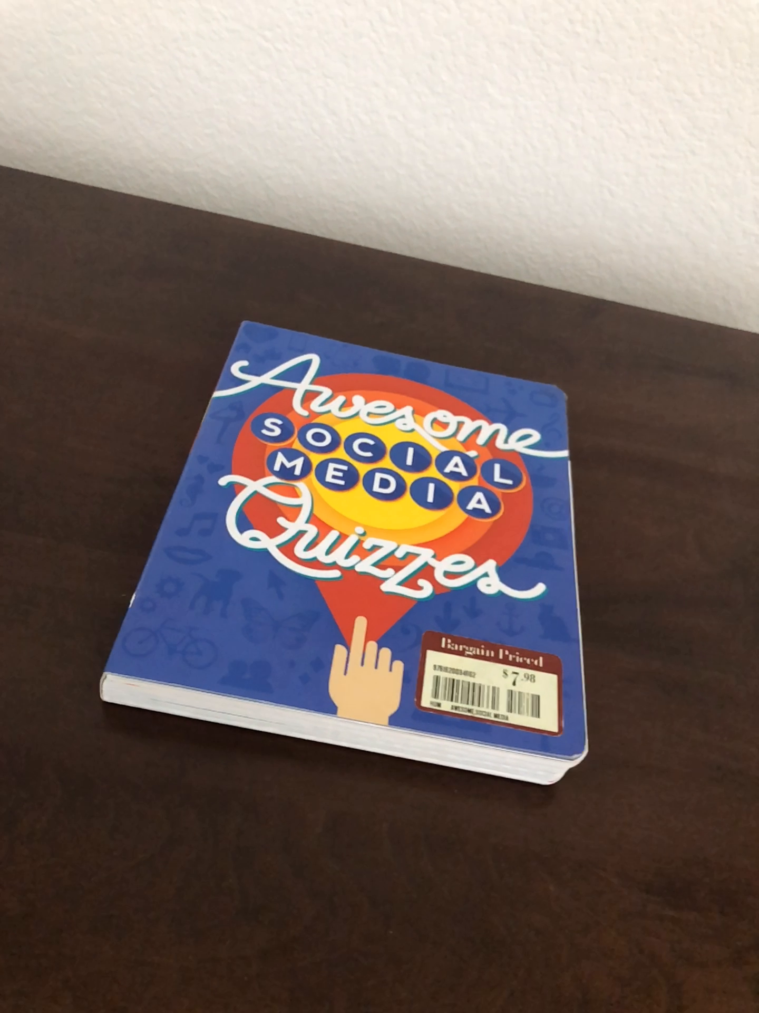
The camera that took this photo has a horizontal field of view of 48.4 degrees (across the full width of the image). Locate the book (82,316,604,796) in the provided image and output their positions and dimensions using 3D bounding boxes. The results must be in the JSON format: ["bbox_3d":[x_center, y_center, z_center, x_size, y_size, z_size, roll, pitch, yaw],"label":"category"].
[{"bbox_3d":[0.000,0.004,0.350,0.172,0.020,0.202,11,47,-2],"label":"book"}]
